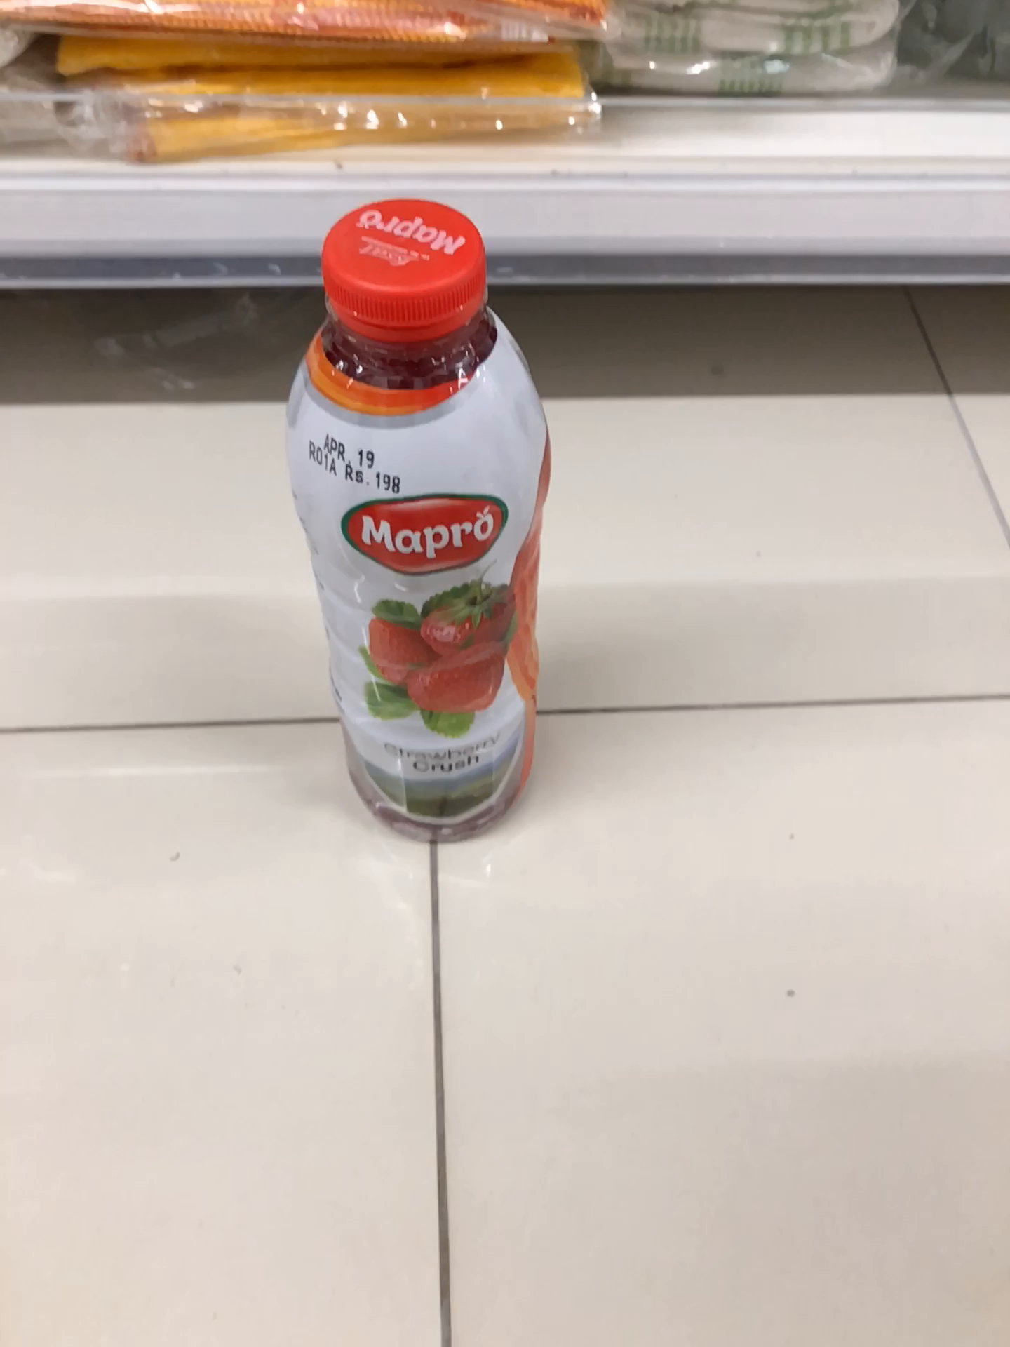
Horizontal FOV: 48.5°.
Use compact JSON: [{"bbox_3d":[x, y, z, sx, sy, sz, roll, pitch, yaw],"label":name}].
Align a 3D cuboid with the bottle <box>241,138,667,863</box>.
[{"bbox_3d":[-0.017,-0.031,0.362,0.090,0.249,0.080,-3,56,-4],"label":"bottle"}]
